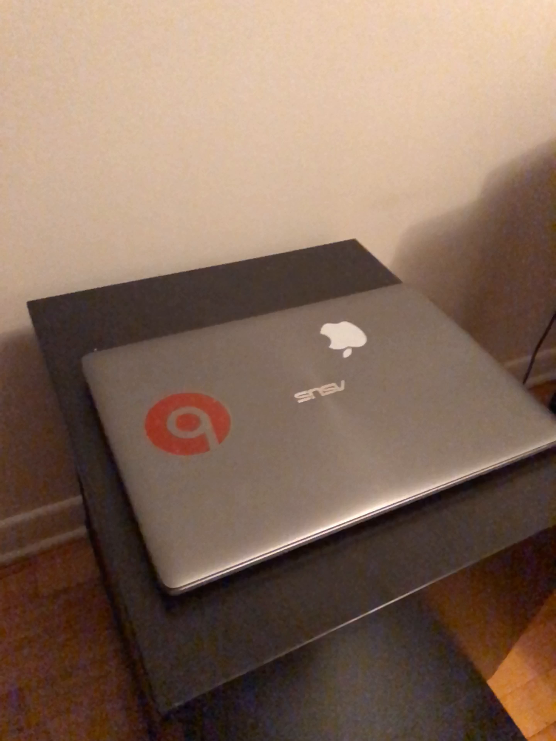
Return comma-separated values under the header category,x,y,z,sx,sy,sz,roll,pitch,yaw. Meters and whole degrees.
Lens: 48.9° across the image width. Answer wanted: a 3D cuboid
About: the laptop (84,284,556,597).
category,x,y,z,sx,sy,sz,roll,pitch,yaw
laptop,0.041,0.028,0.563,0.374,0.010,0.249,-15,46,-21
